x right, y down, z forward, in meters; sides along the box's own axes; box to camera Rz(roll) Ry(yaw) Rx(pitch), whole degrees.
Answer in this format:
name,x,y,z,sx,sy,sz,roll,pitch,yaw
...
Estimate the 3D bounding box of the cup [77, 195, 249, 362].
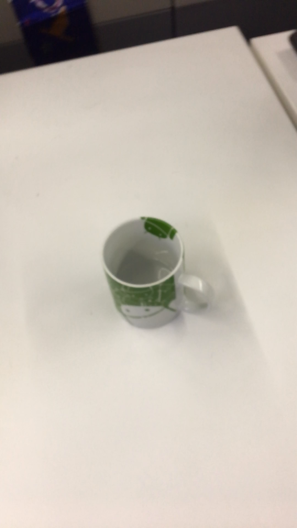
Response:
name,x,y,z,sx,sy,sz,roll,pitch,yaw
cup,0.016,0.013,0.418,0.120,0.090,0.090,19,62,16
